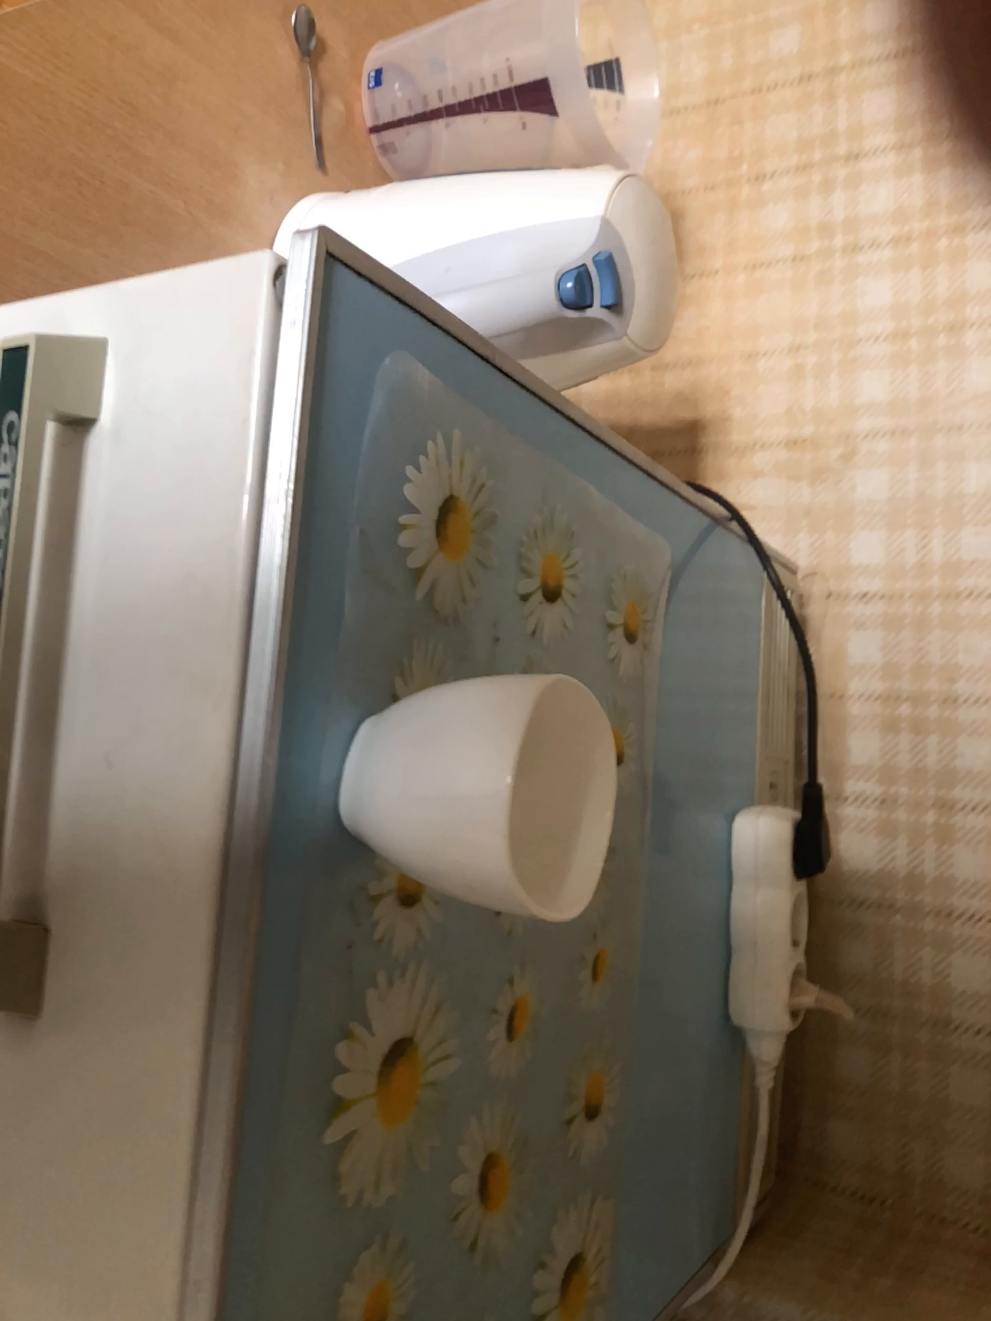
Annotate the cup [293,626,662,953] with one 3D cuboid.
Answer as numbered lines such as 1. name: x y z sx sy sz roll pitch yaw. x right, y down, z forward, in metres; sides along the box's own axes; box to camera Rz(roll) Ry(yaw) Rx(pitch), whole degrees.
1. cup: -0.001 0.037 0.345 0.103 0.070 0.085 8 83 -60
